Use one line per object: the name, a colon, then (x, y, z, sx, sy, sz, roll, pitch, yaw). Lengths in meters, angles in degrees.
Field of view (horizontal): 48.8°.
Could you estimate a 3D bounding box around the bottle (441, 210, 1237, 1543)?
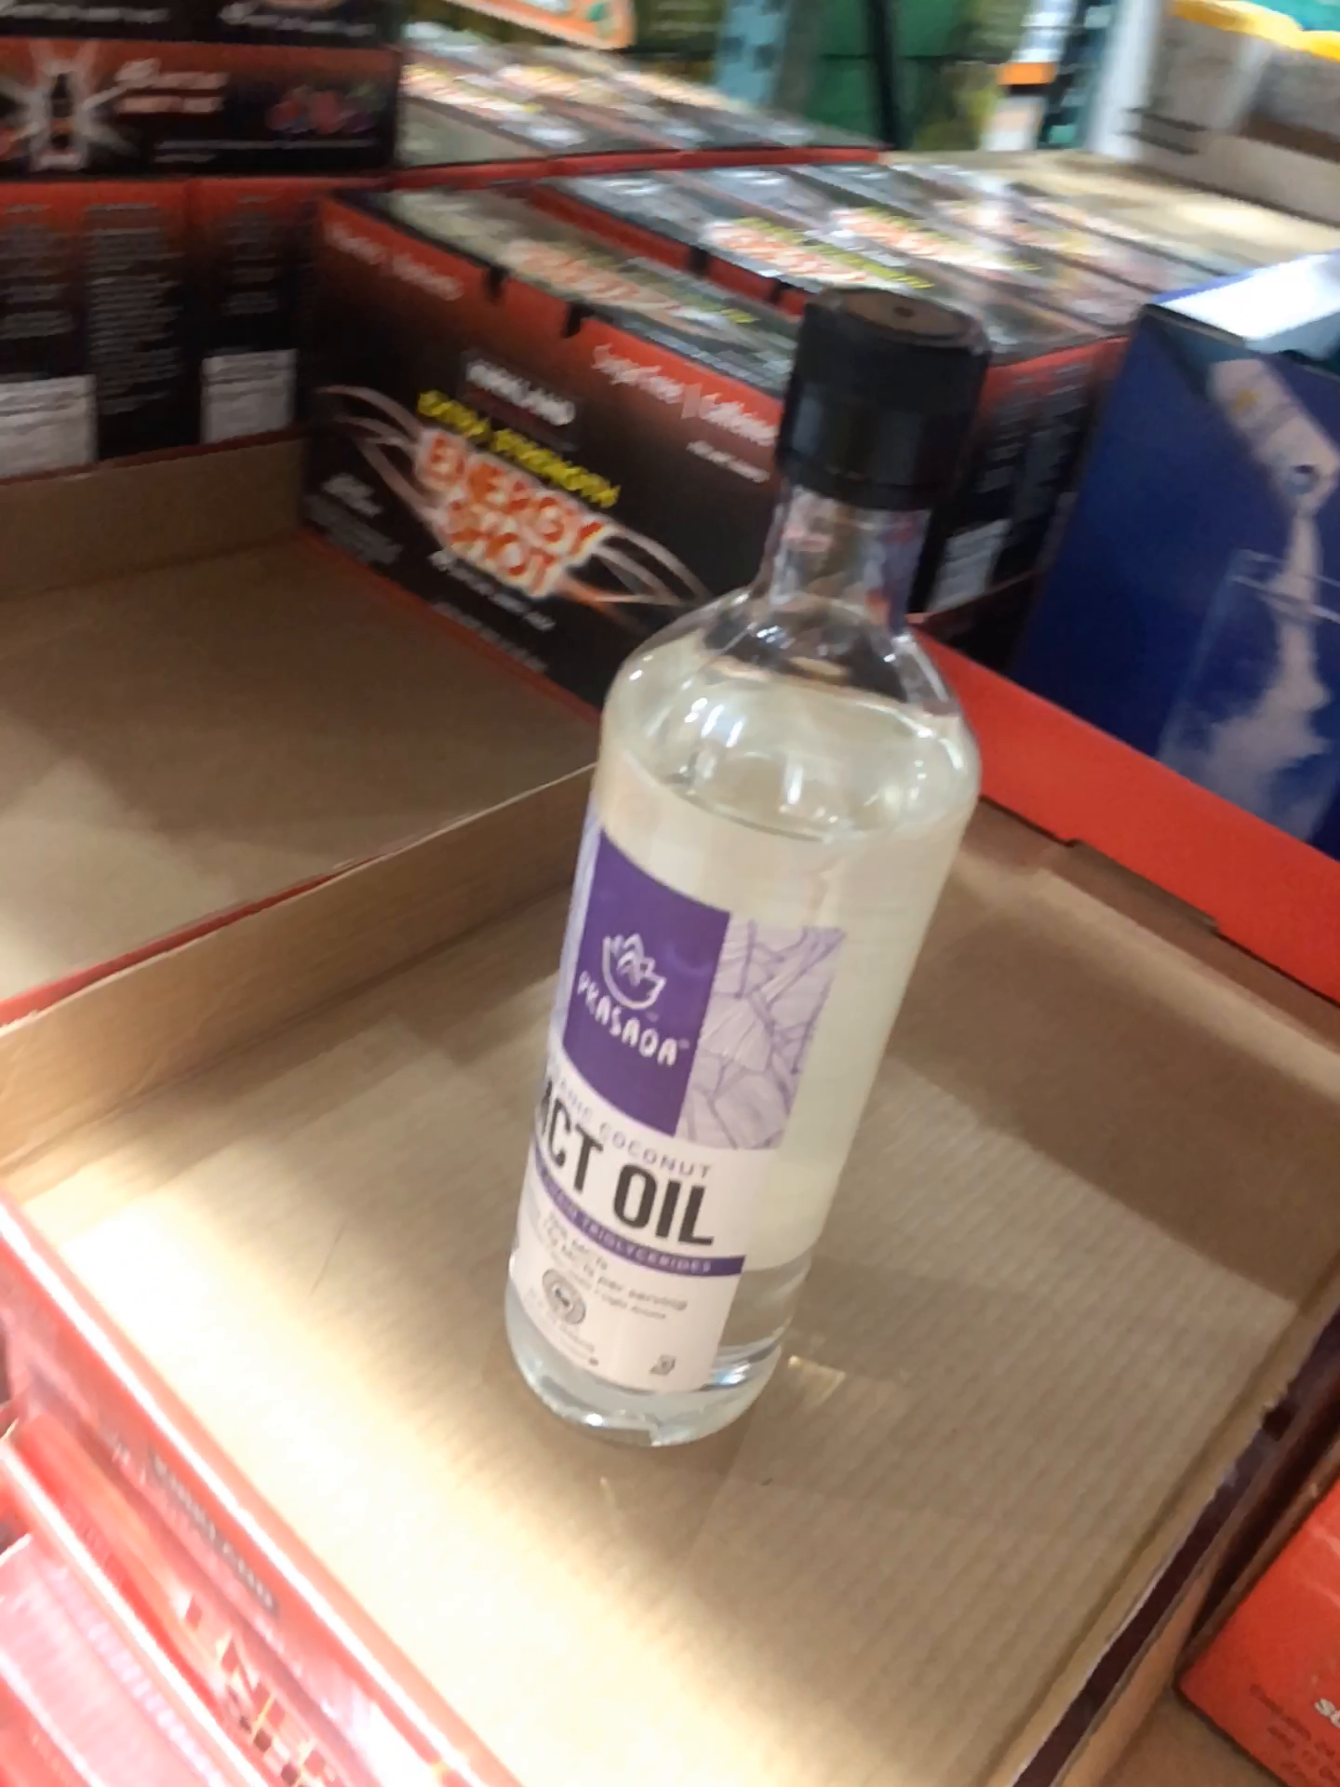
bottle: (0.017, 0.014, 0.330, 0.078, 0.290, 0.080, 8, 36, -6)
